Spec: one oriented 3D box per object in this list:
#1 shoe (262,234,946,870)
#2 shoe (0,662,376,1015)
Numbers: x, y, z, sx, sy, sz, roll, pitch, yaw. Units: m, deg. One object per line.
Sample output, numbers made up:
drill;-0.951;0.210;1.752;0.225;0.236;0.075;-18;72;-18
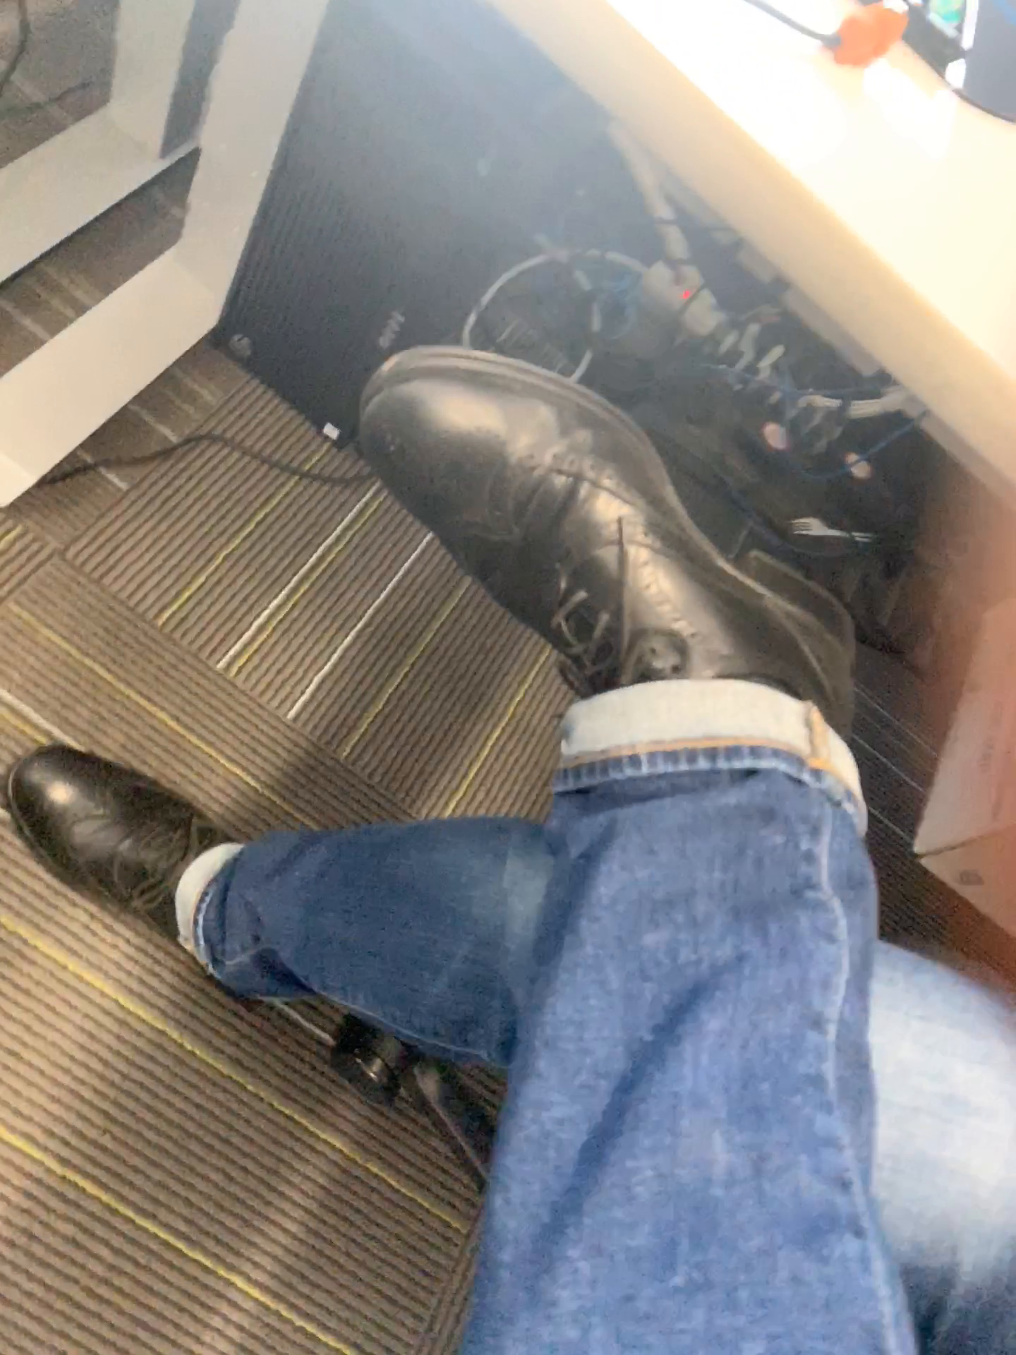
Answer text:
shoe;0.045;-0.044;0.458;0.273;0.111;0.091;37;53;-9
shoe;-0.257;0.130;0.793;0.273;0.104;0.112;37;56;-9
